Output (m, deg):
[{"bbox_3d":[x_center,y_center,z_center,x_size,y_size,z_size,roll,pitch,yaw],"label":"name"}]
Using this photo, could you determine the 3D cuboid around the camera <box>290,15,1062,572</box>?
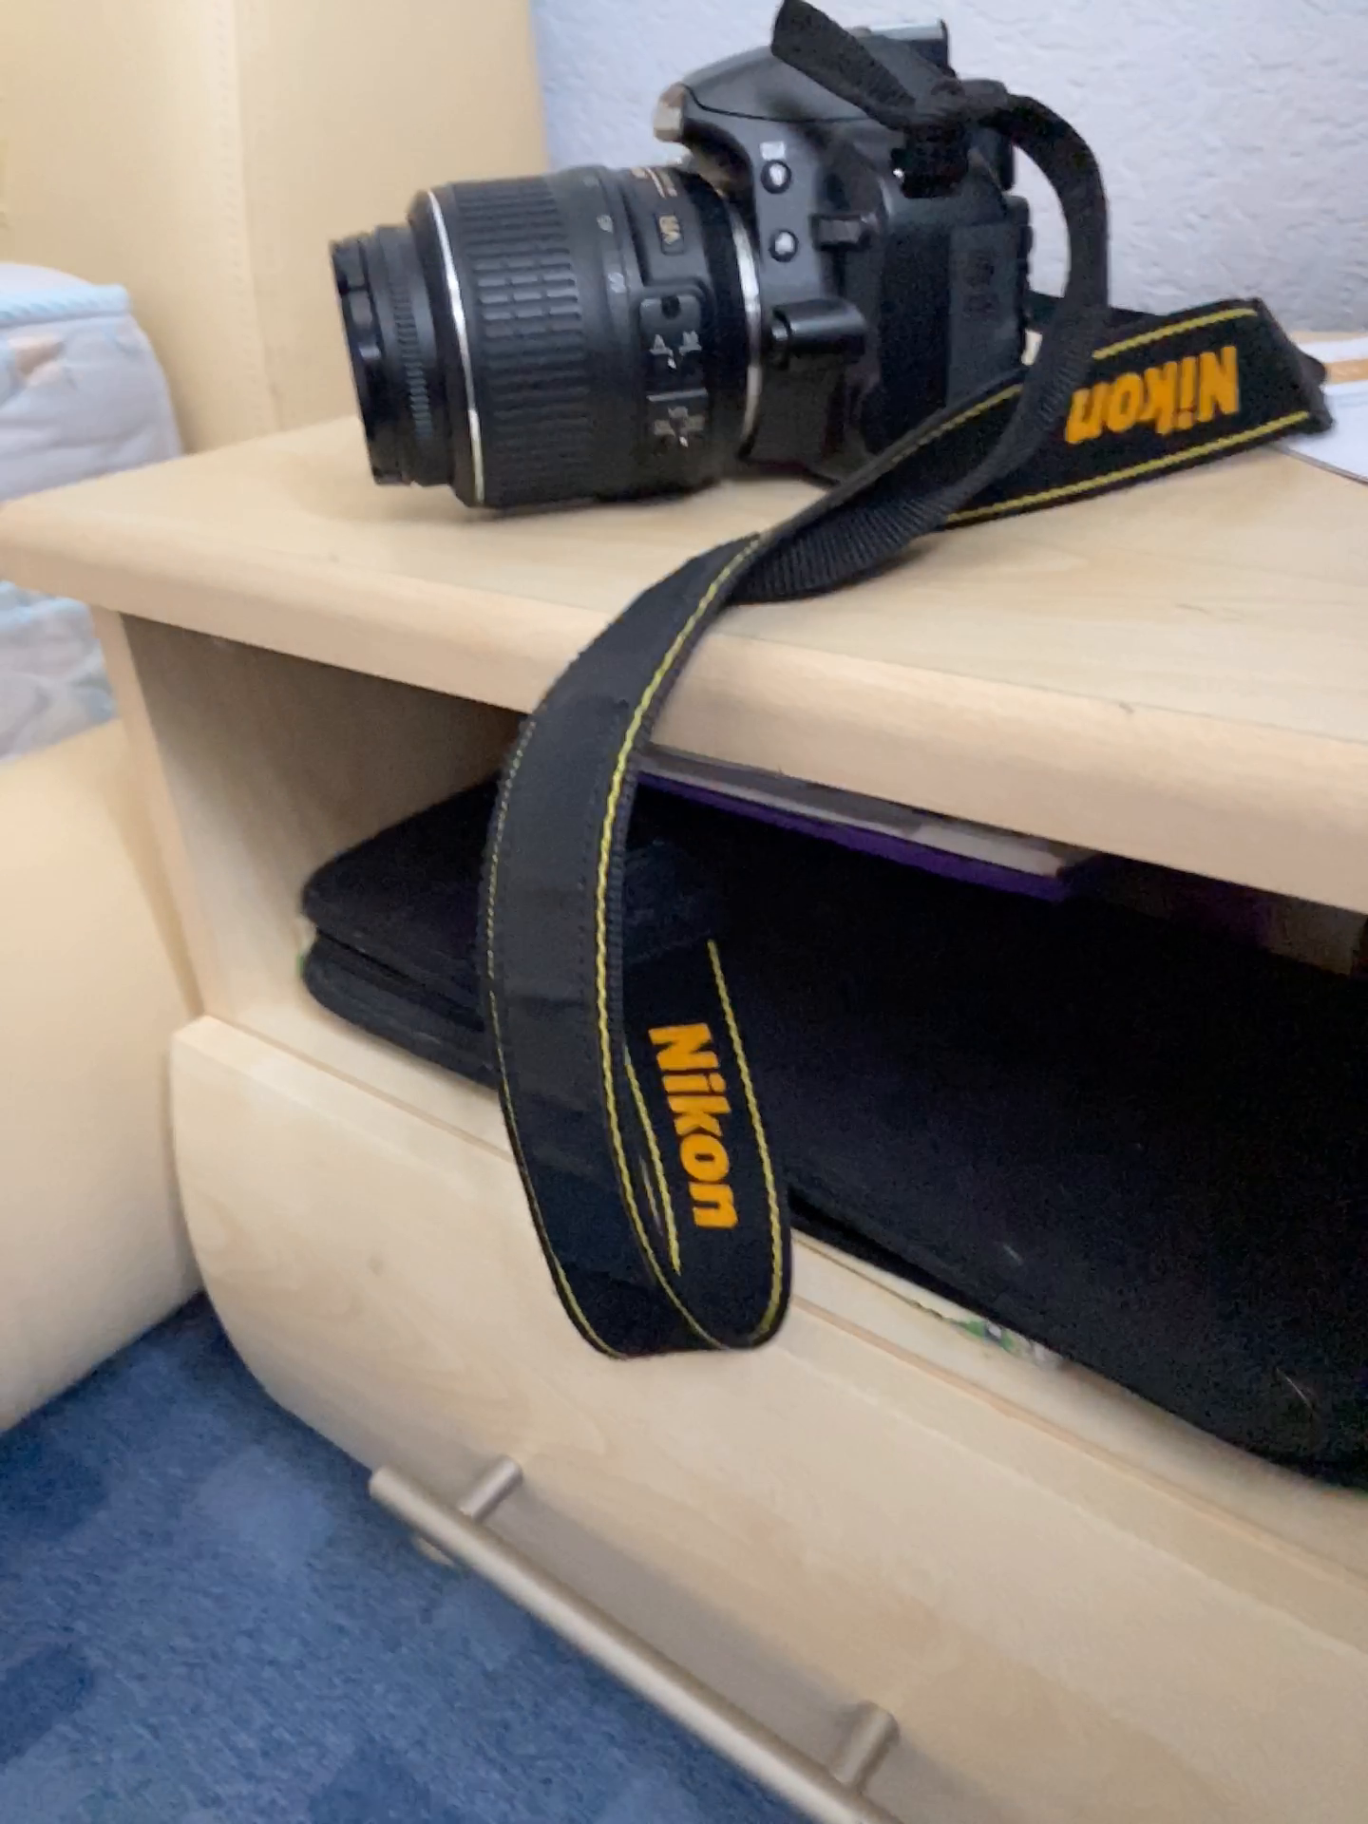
[{"bbox_3d":[-0.008,-0.154,0.343,0.152,0.091,0.119,-11,30,-11],"label":"camera"}]
